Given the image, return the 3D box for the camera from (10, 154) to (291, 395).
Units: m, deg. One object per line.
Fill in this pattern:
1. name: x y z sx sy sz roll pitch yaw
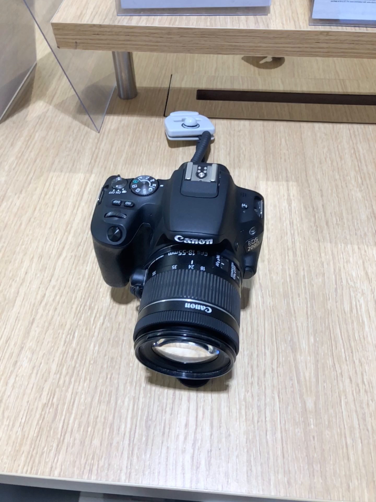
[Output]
1. camera: -0.012 0.012 0.257 0.130 0.080 0.115 4 52 4
